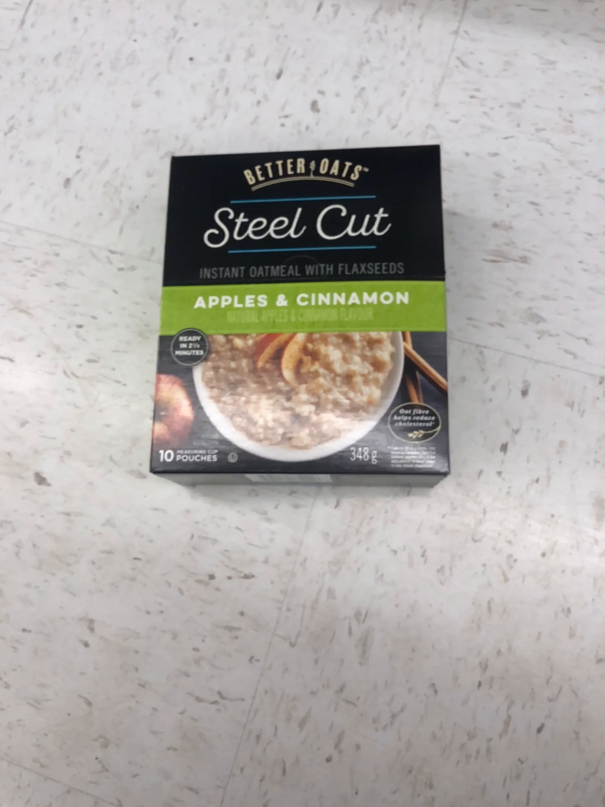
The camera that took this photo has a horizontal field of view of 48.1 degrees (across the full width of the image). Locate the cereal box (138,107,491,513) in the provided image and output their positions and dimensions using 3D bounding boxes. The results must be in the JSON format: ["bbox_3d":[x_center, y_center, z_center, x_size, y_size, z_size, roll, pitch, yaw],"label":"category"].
[{"bbox_3d":[0.008,-0.046,0.364,0.160,0.070,0.200,0,77,5],"label":"cereal box"}]
